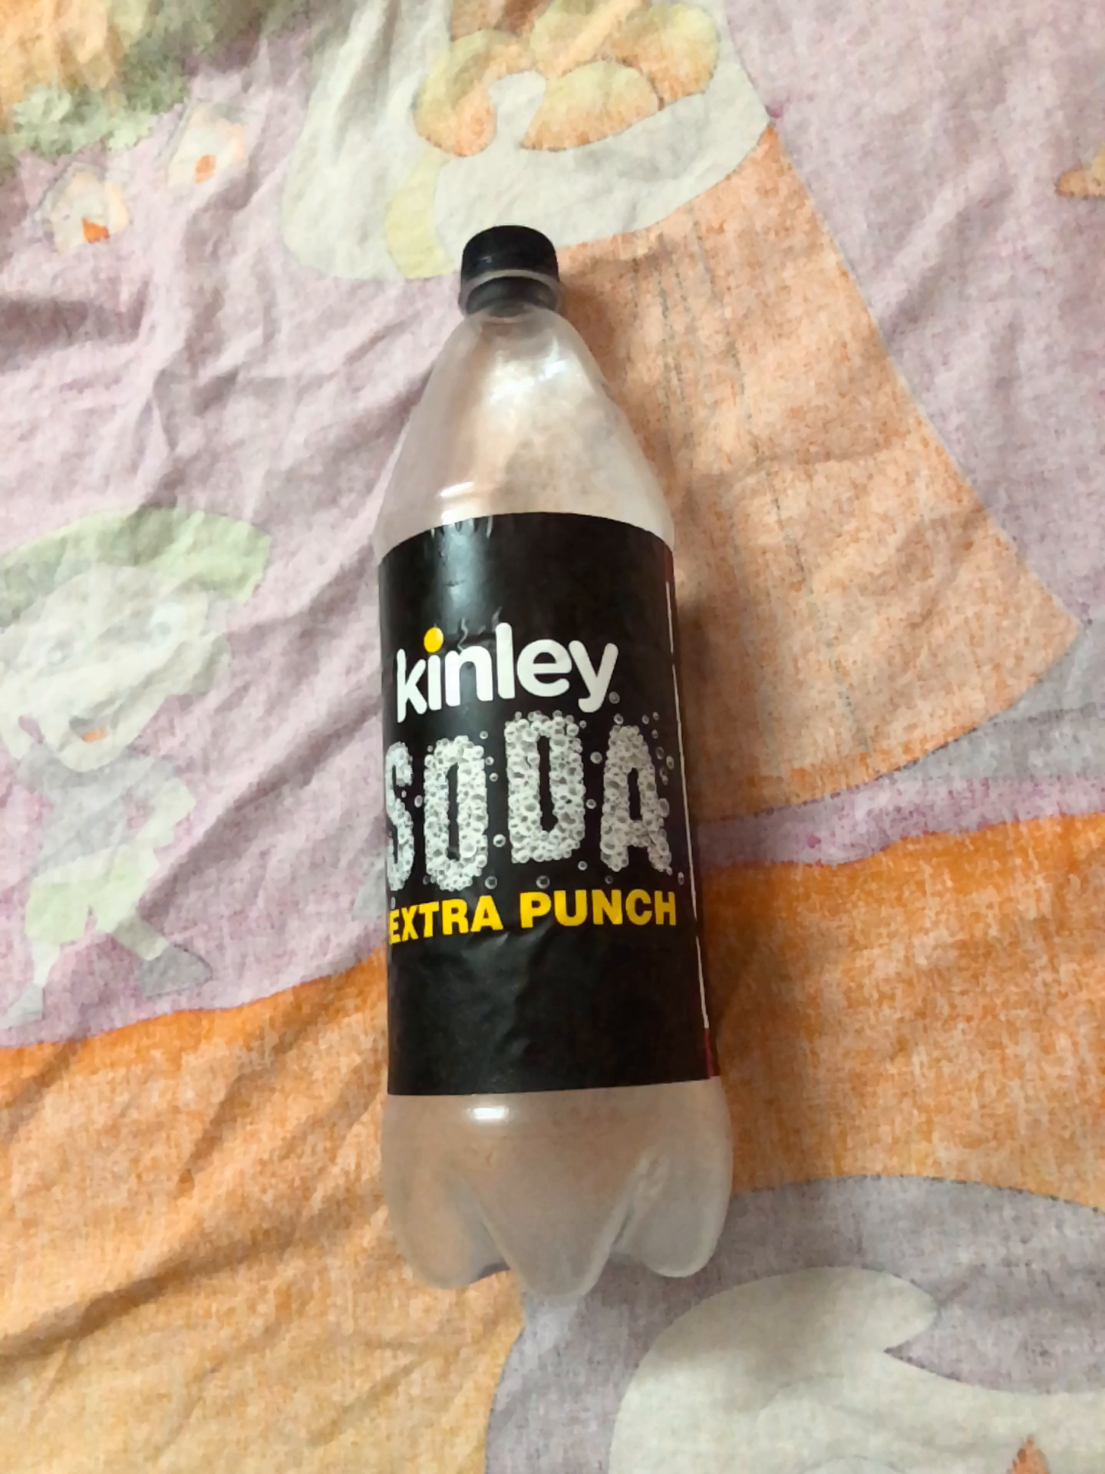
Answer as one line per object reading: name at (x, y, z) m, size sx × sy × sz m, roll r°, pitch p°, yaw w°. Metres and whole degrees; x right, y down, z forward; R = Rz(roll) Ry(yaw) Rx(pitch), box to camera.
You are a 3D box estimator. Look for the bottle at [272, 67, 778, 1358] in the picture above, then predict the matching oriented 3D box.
bottle at (-0.005, -0.007, 0.309) m, size 0.090 × 0.080 × 0.280 m, roll -7°, pitch 81°, yaw 11°
